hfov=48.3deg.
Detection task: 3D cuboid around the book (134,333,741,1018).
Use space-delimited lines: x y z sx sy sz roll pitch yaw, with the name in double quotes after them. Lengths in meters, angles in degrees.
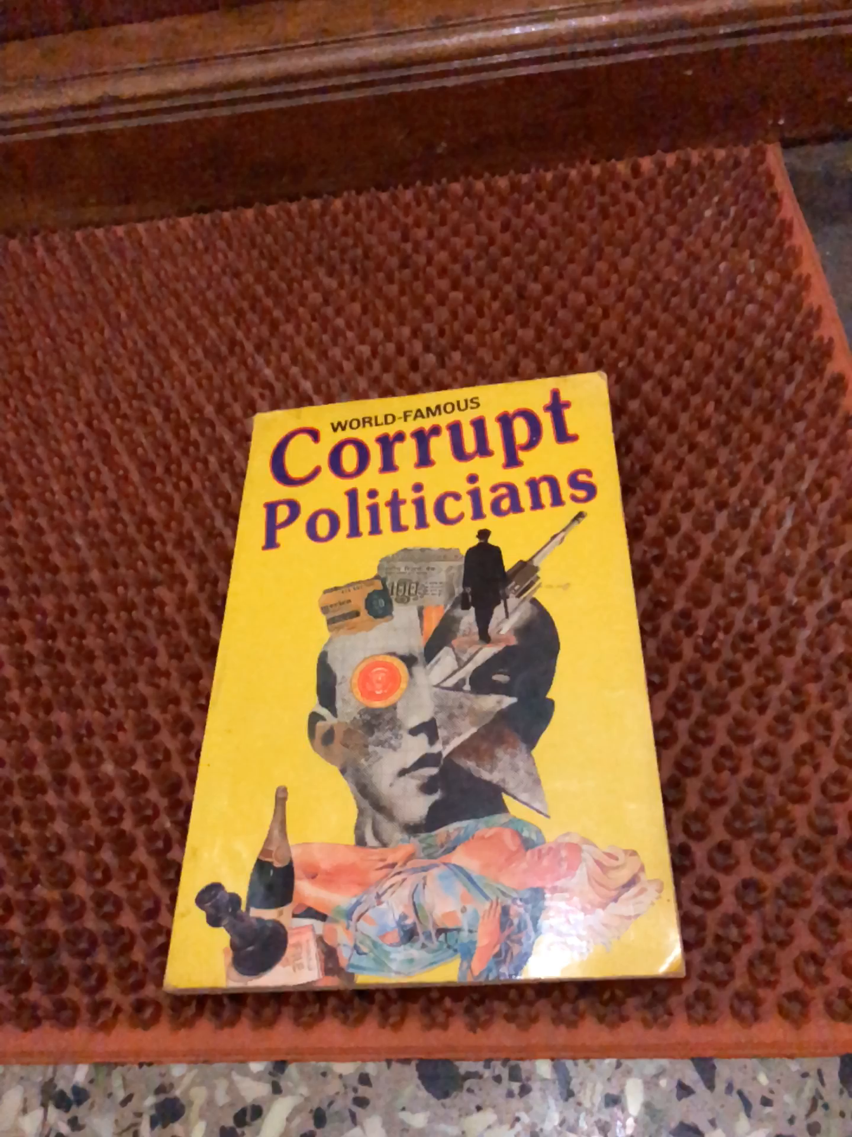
0.002 0.017 0.308 0.150 0.020 0.231 -5 54 7 "book"
